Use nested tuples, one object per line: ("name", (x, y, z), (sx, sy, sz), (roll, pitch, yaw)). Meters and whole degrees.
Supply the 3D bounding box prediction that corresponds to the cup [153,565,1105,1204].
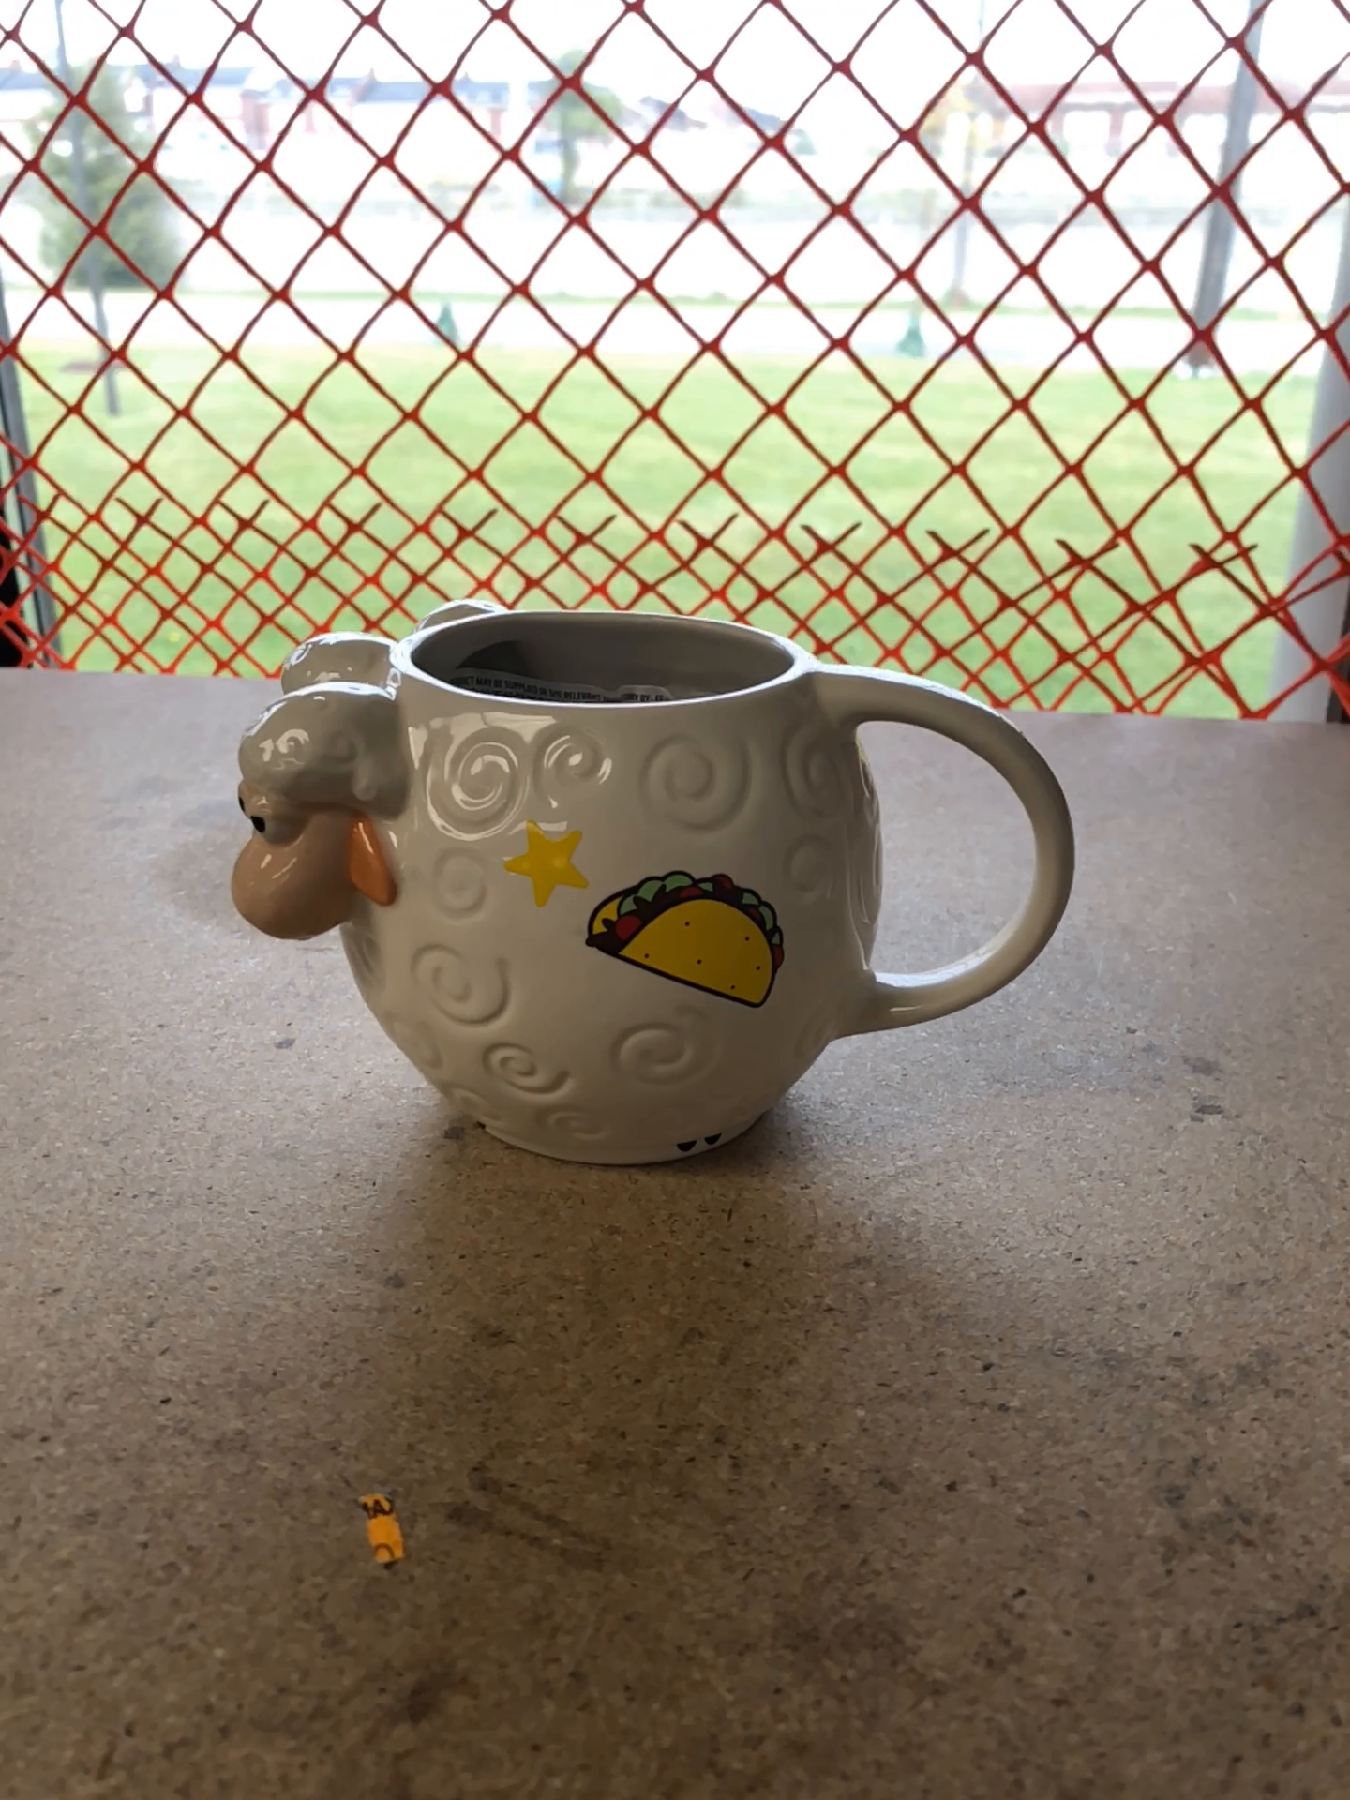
("cup", (-0.005, -0.008, 0.282), (0.146, 0.090, 0.076), (3, 24, 6))
